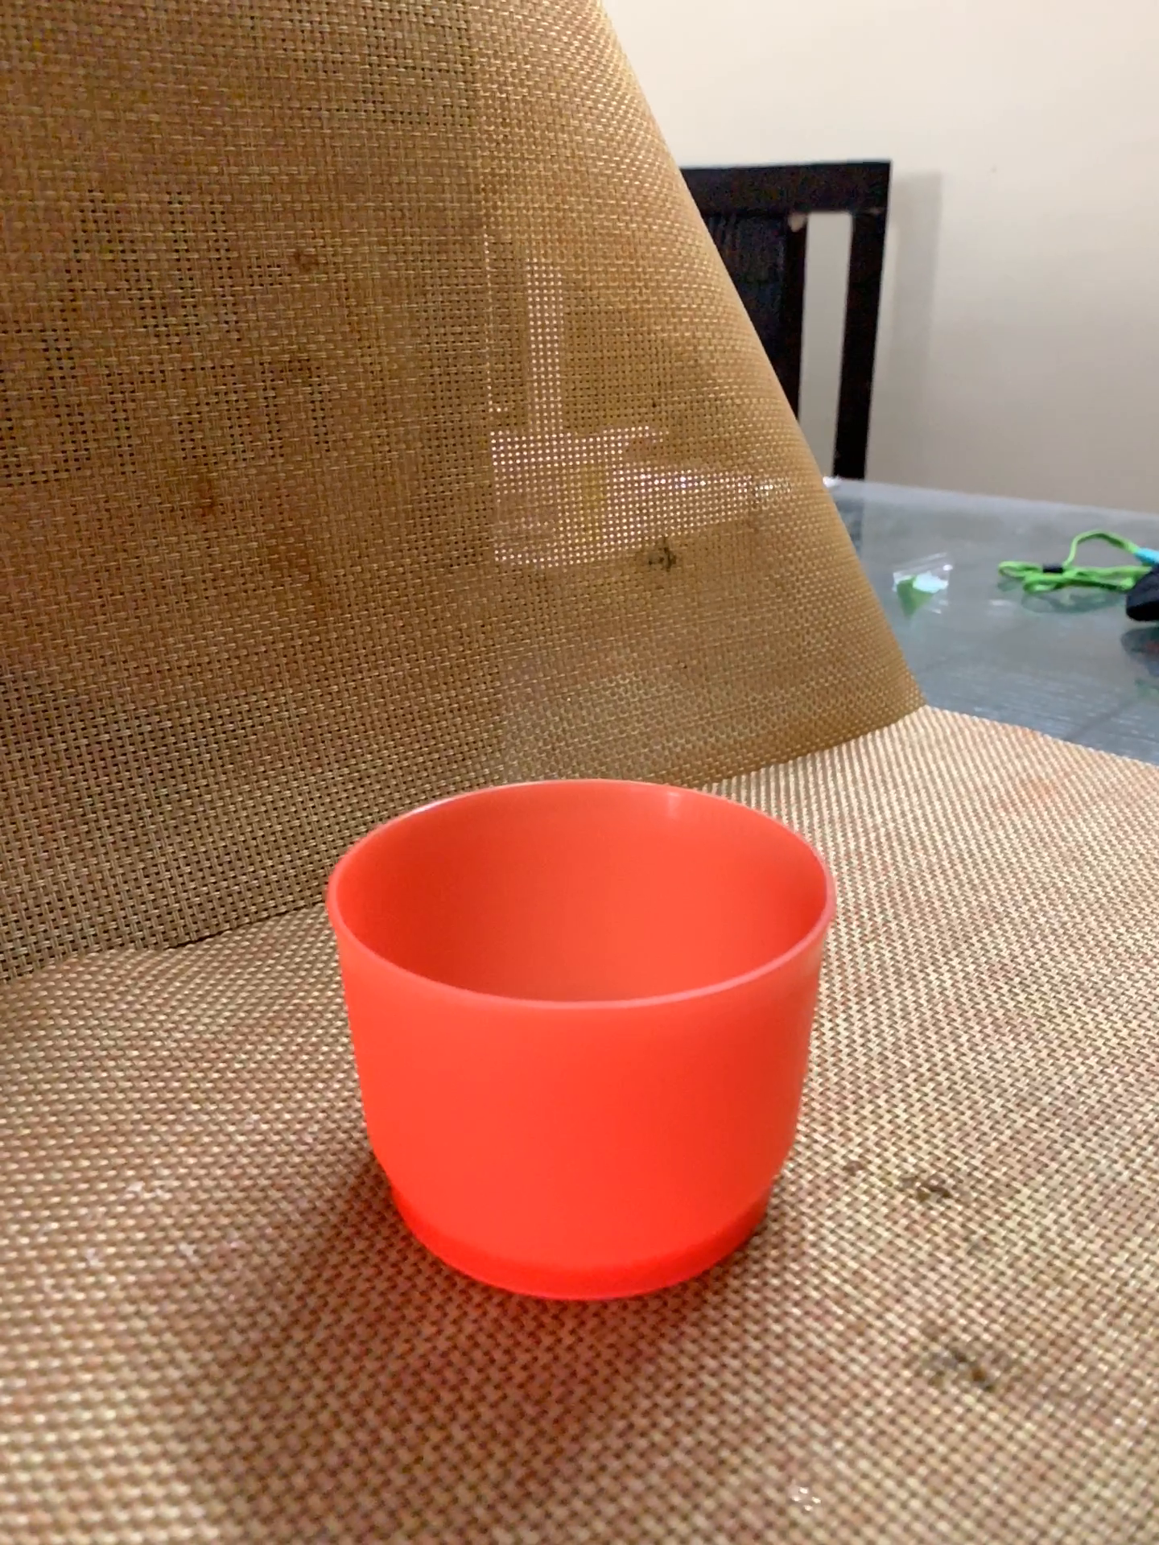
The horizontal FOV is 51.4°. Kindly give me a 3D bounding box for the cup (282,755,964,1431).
[{"bbox_3d":[0.003,0.038,0.179,0.070,0.050,0.070,0,21,0],"label":"cup"}]
